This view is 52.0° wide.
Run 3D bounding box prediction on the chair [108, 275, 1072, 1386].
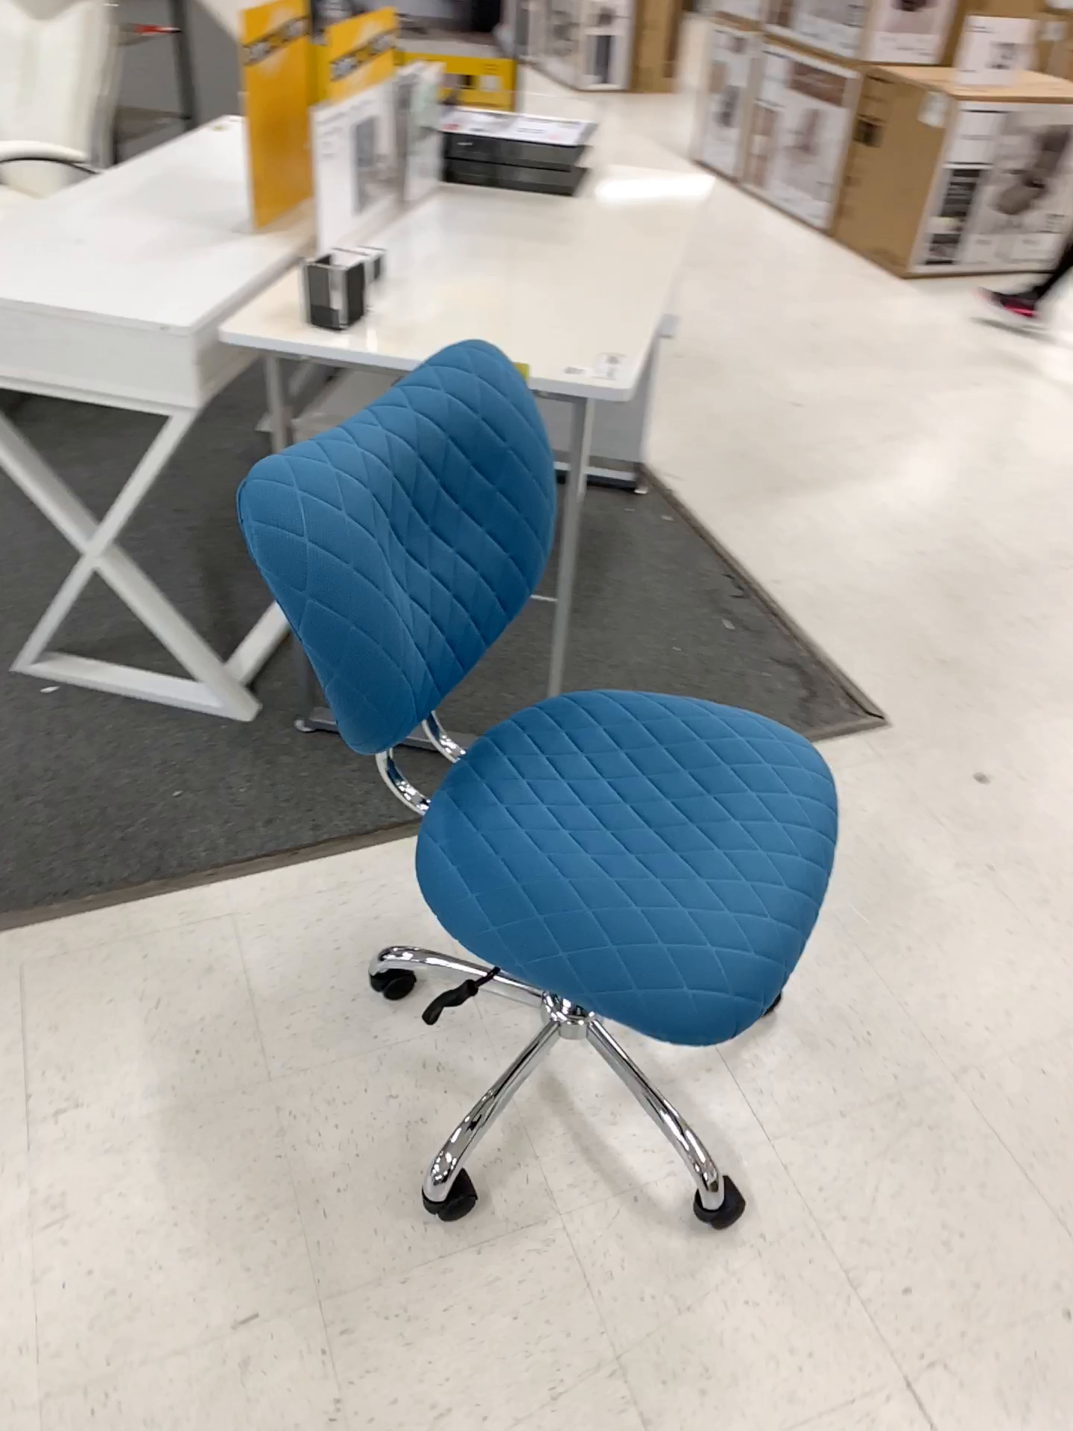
[{"bbox_3d":[0.065,0.105,1.222,0.631,0.875,0.612,23,42,20],"label":"chair"}]
